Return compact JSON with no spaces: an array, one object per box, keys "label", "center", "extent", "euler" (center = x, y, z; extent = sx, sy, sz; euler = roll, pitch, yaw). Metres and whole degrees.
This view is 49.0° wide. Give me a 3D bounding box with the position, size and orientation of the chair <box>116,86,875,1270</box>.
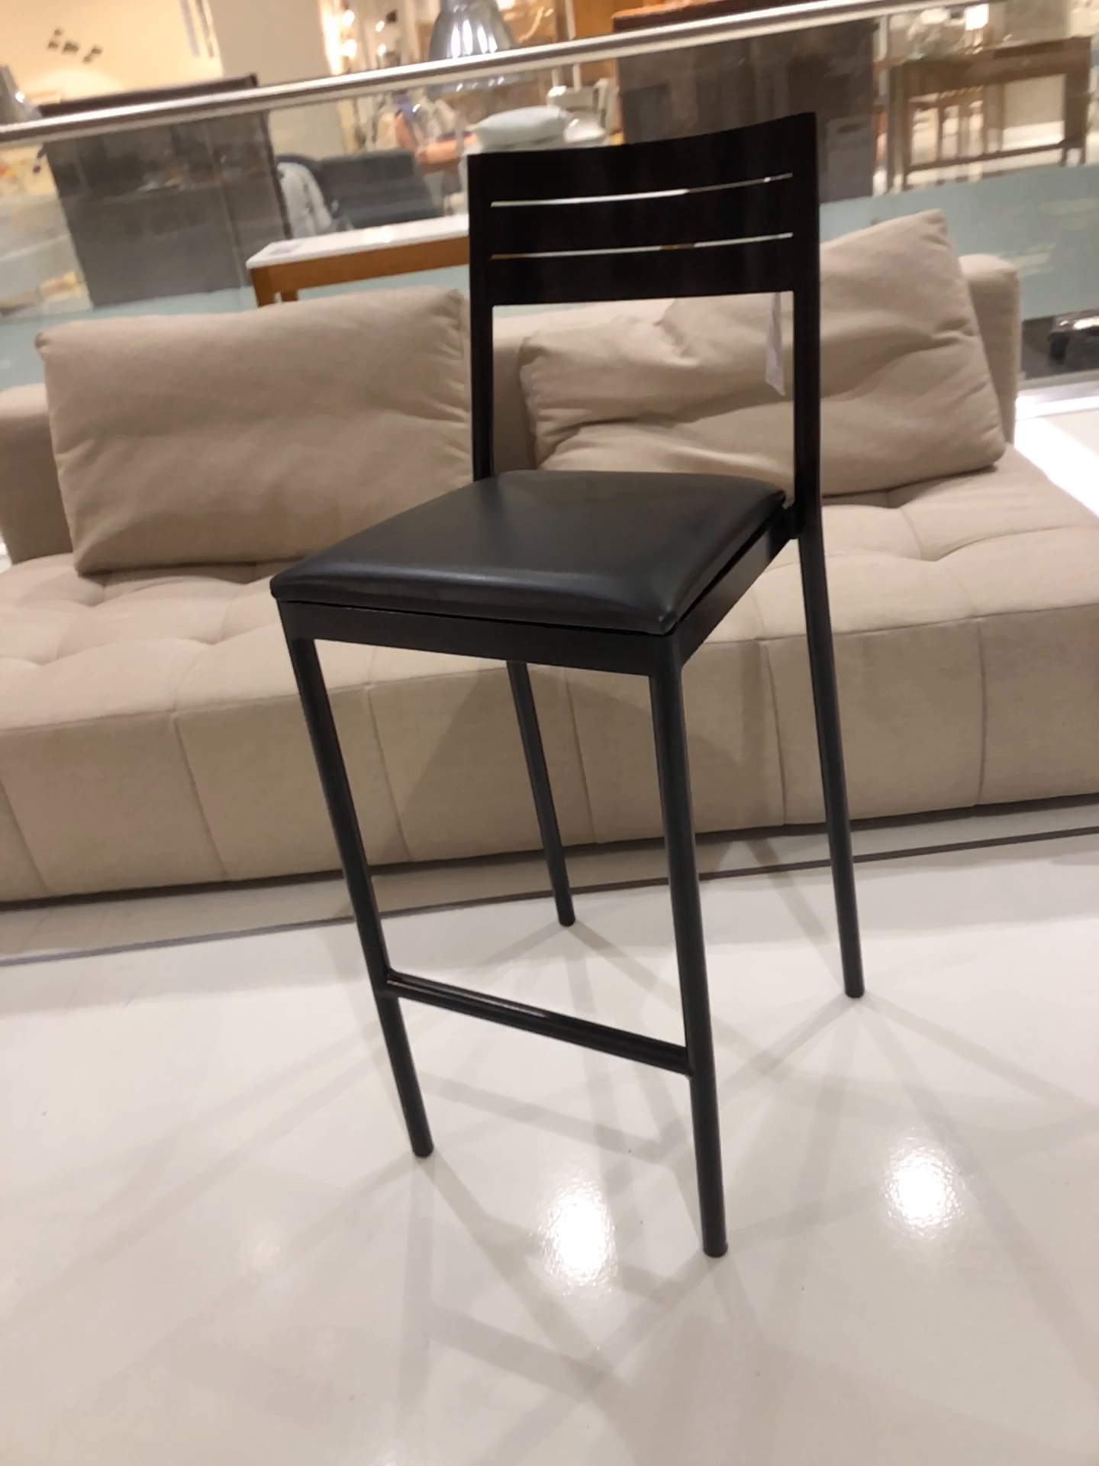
[{"label":"chair","center":[0.042,-0.053,1.173],"extent":[0.421,0.943,0.473],"euler":[7,32,27]}]
